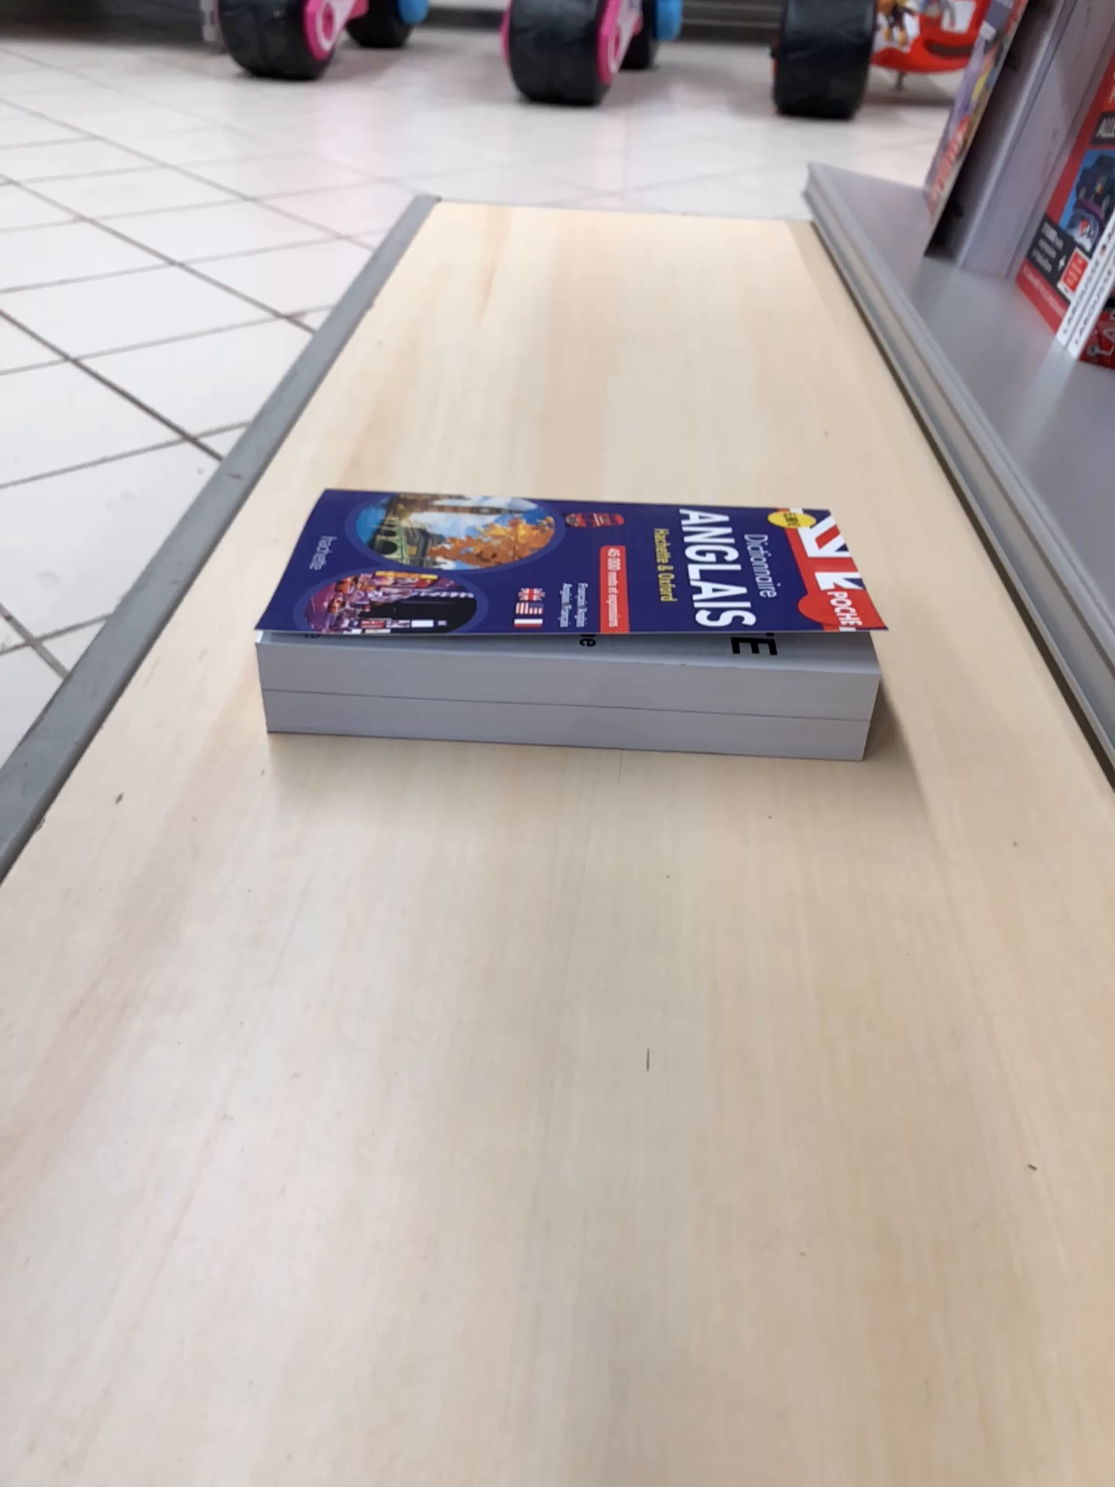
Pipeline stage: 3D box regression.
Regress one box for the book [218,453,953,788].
[{"bbox_3d":[0.009,-0.043,0.374,0.187,0.040,0.119,2,35,1],"label":"book"}]
